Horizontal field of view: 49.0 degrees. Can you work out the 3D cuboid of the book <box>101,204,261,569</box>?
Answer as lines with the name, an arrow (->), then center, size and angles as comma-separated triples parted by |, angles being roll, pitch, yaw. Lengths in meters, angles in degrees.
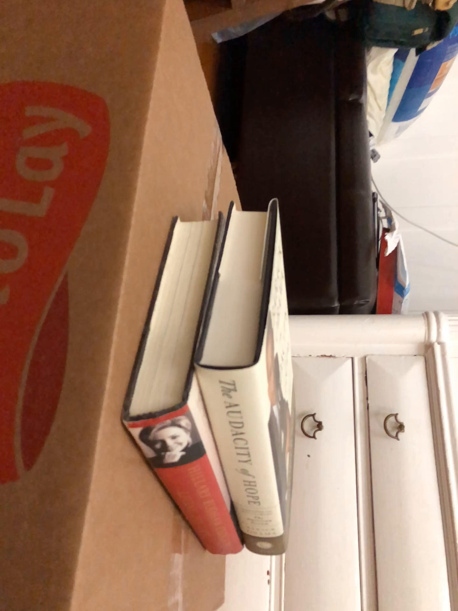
book -> -0.014, 0.076, 0.385 | 0.250, 0.040, 0.170 | 77, 16, -49

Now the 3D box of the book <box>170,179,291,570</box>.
book -> 0.020, 0.061, 0.398 | 0.190, 0.040, 0.250 | -80, 165, -45
